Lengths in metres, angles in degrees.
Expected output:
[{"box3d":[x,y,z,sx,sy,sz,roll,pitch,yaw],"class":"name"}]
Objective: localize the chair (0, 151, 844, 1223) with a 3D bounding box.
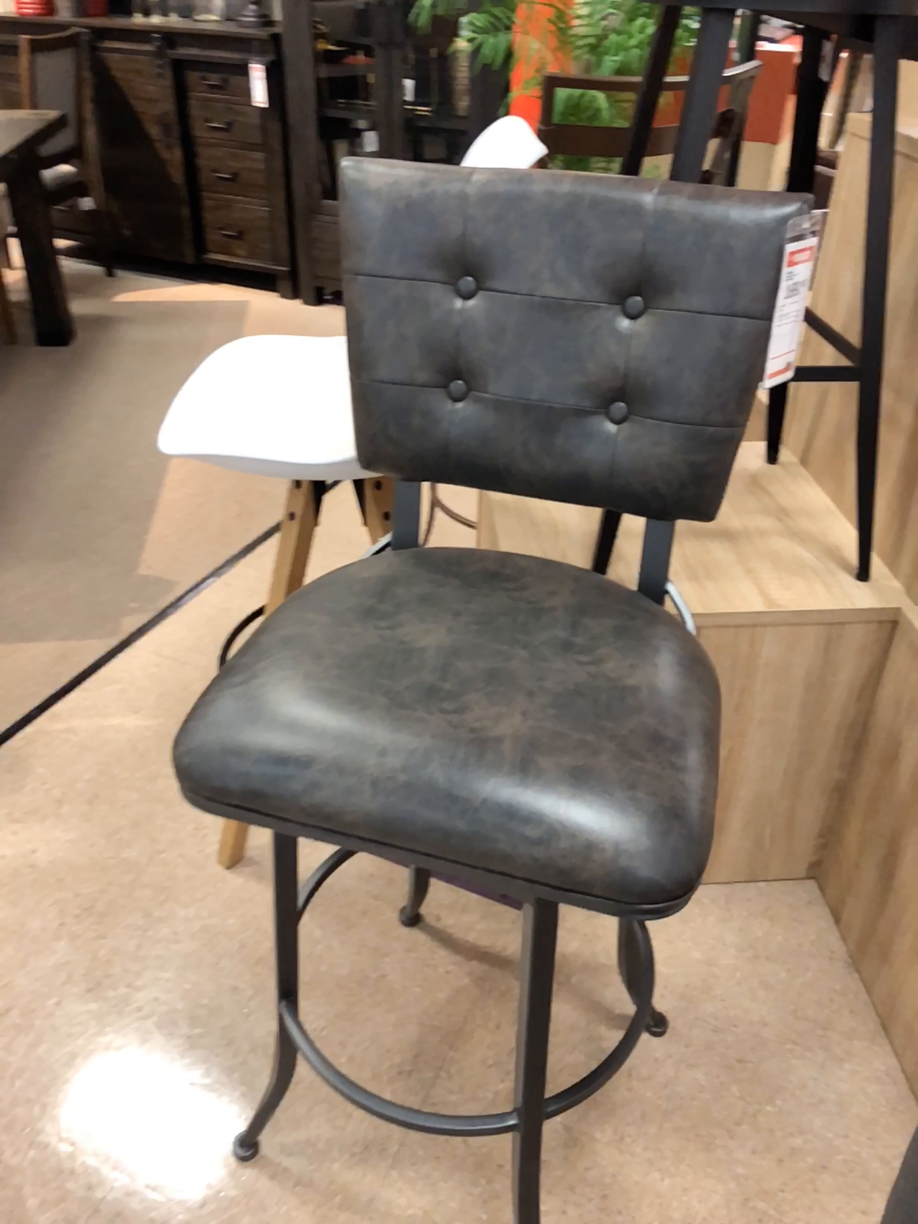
[{"box3d":[0.017,0.166,1.063,0.518,1.108,0.514,11,34,17],"class":"chair"}]
